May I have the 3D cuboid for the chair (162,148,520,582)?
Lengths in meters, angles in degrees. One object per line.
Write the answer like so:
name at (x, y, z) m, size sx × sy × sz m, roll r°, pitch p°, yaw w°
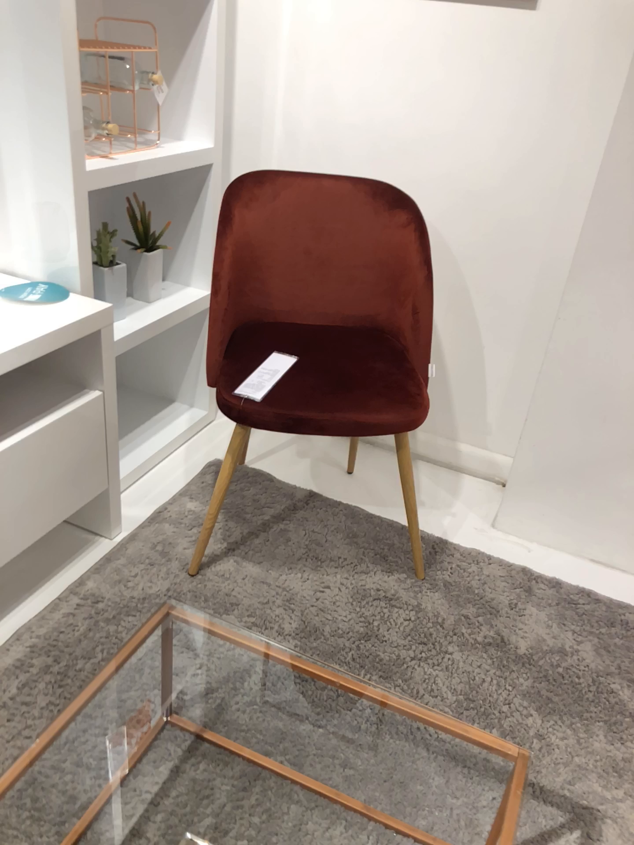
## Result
chair at (-0.037, -0.153, 1.579) m, size 0.590 × 0.734 × 0.655 m, roll 1°, pitch 30°, yaw -11°
